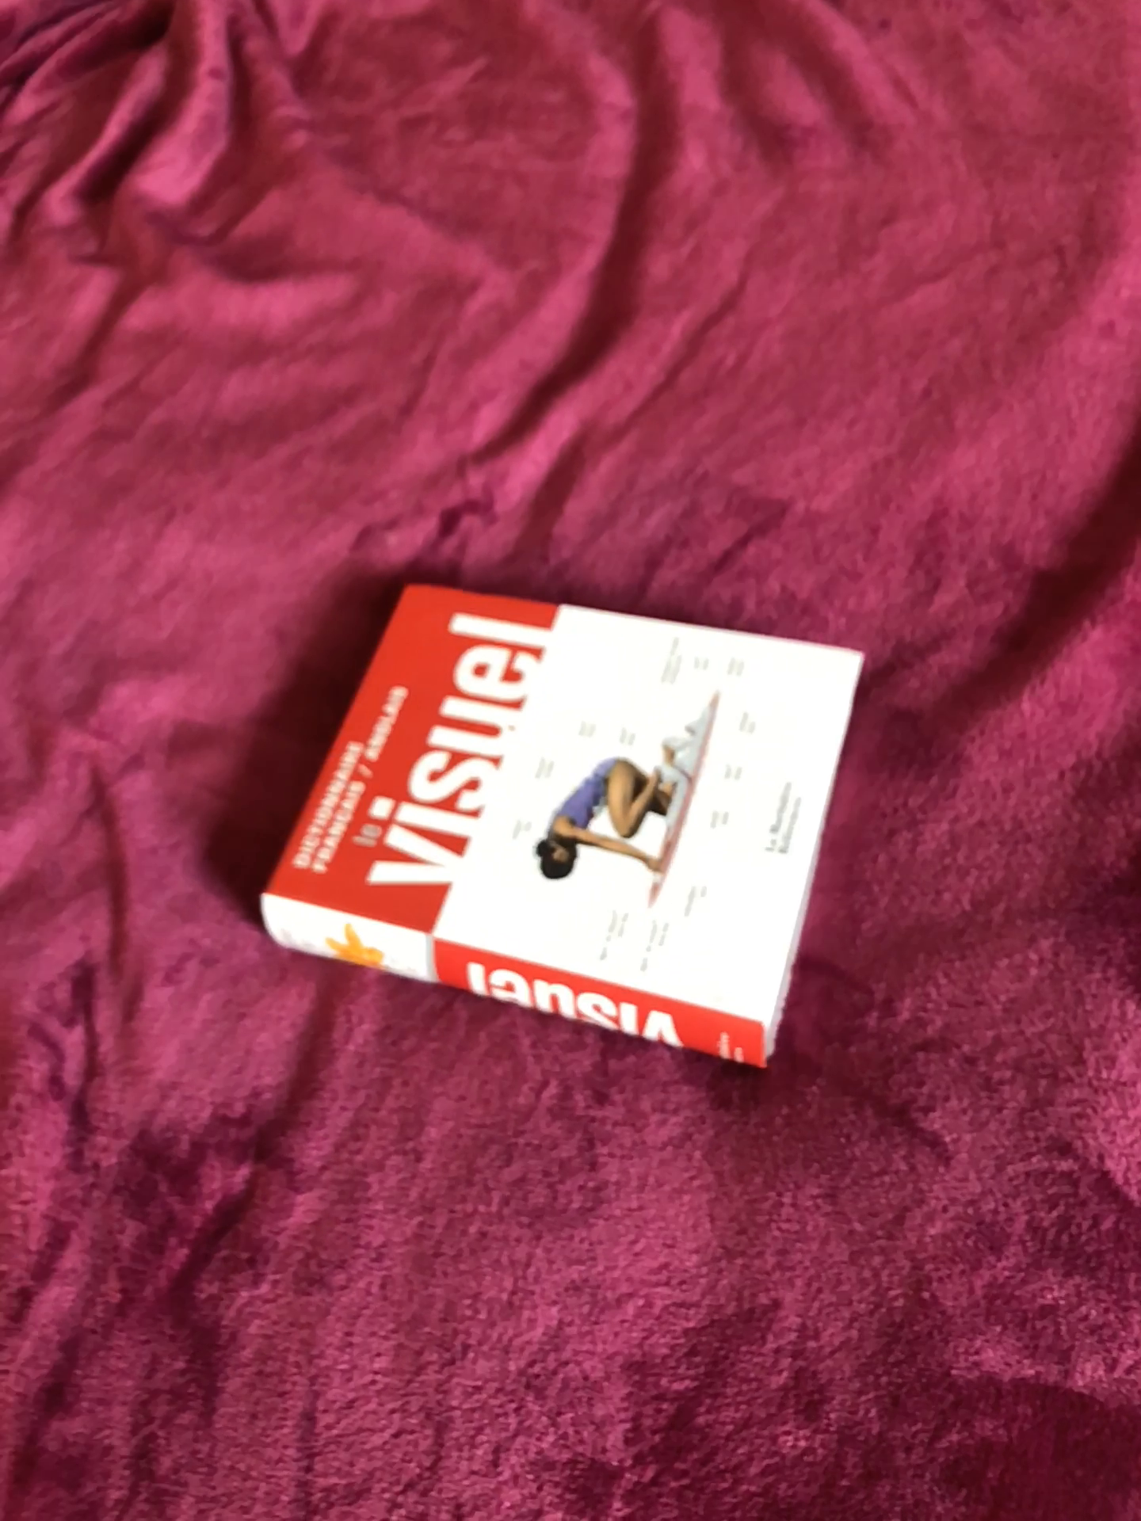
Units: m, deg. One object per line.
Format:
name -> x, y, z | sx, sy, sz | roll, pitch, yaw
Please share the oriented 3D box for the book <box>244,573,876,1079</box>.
book -> 0.001, 0.015, 0.444 | 0.180, 0.039, 0.141 | 11, 62, 17
